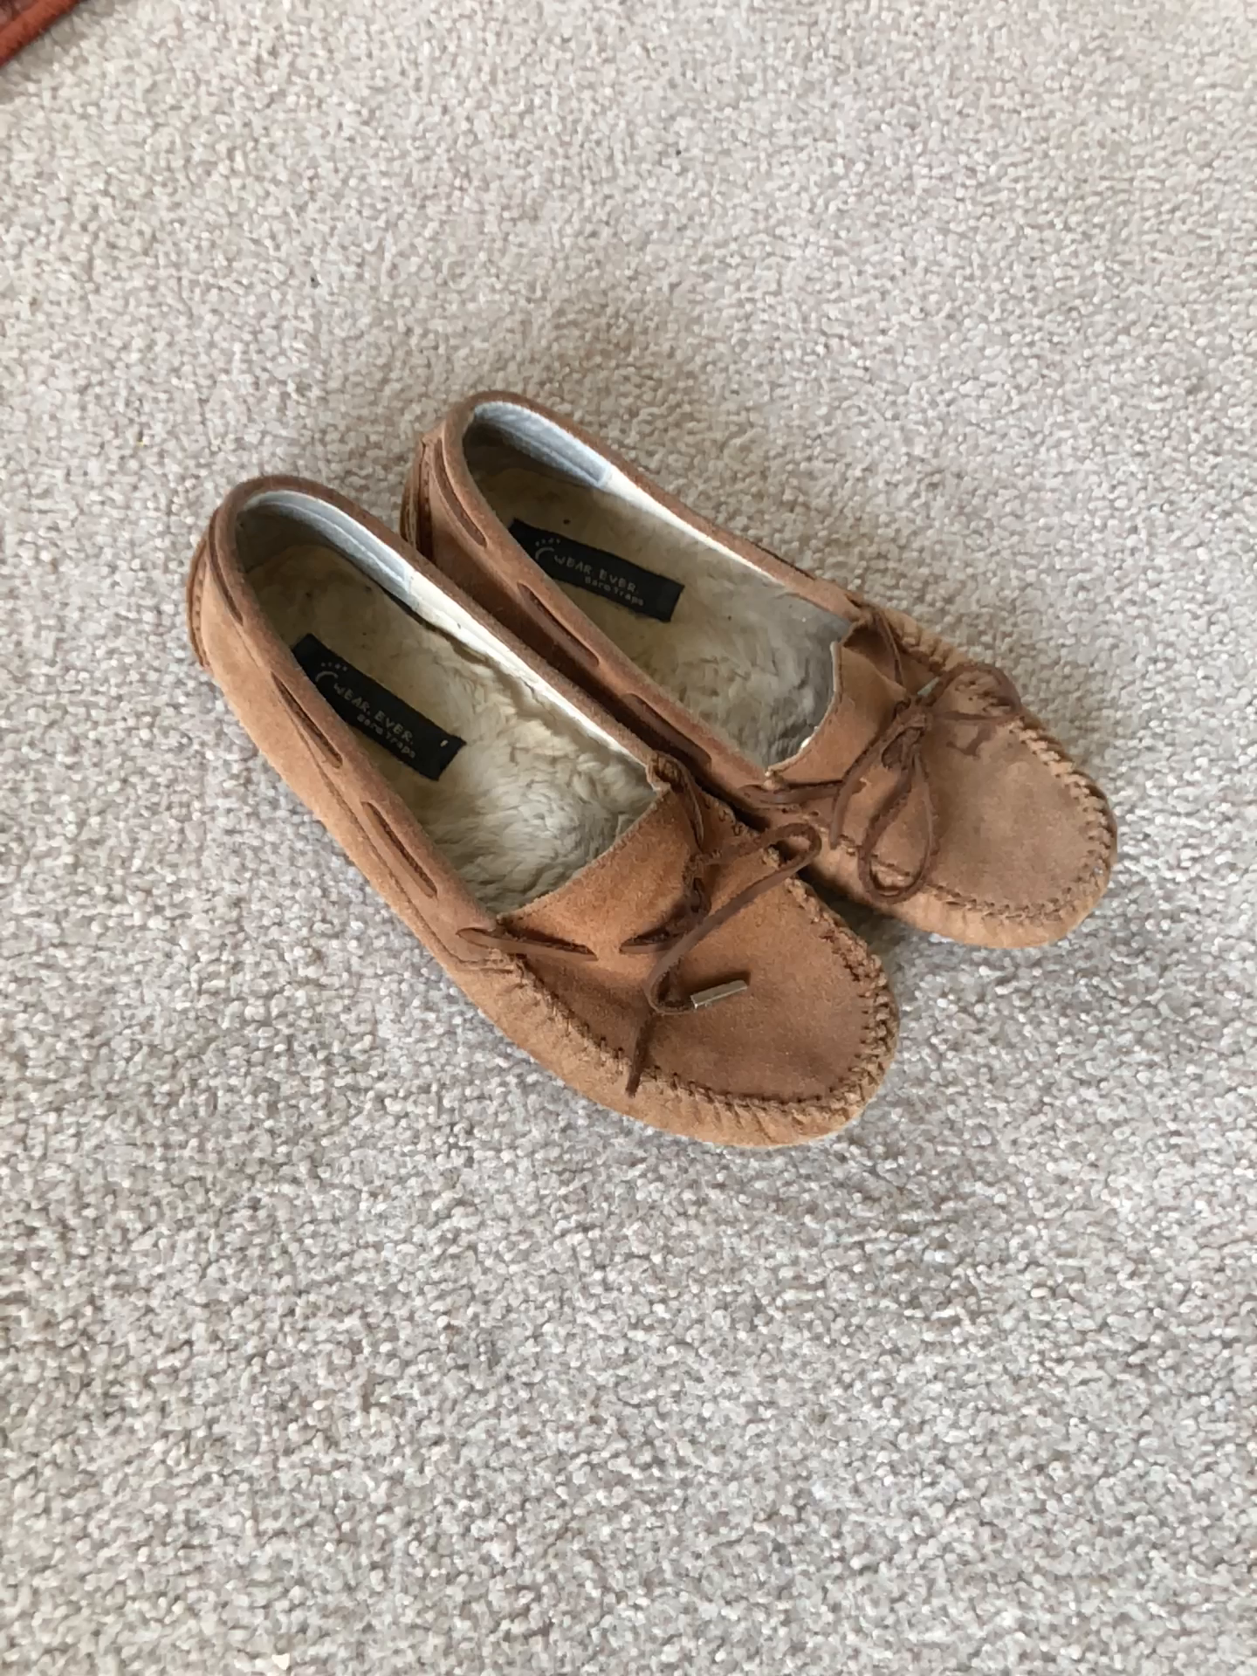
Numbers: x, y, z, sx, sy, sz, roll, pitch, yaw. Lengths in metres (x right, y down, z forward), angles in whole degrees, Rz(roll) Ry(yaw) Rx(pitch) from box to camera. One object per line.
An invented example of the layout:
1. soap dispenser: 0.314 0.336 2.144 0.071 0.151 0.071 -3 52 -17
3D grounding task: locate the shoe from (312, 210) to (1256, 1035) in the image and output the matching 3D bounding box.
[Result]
1. shoe: 0.045 -0.064 0.426 0.274 0.068 0.098 35 68 3

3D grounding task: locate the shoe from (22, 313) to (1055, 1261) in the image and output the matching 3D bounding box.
1. shoe: -0.027 -0.015 0.394 0.270 0.068 0.105 41 68 5
